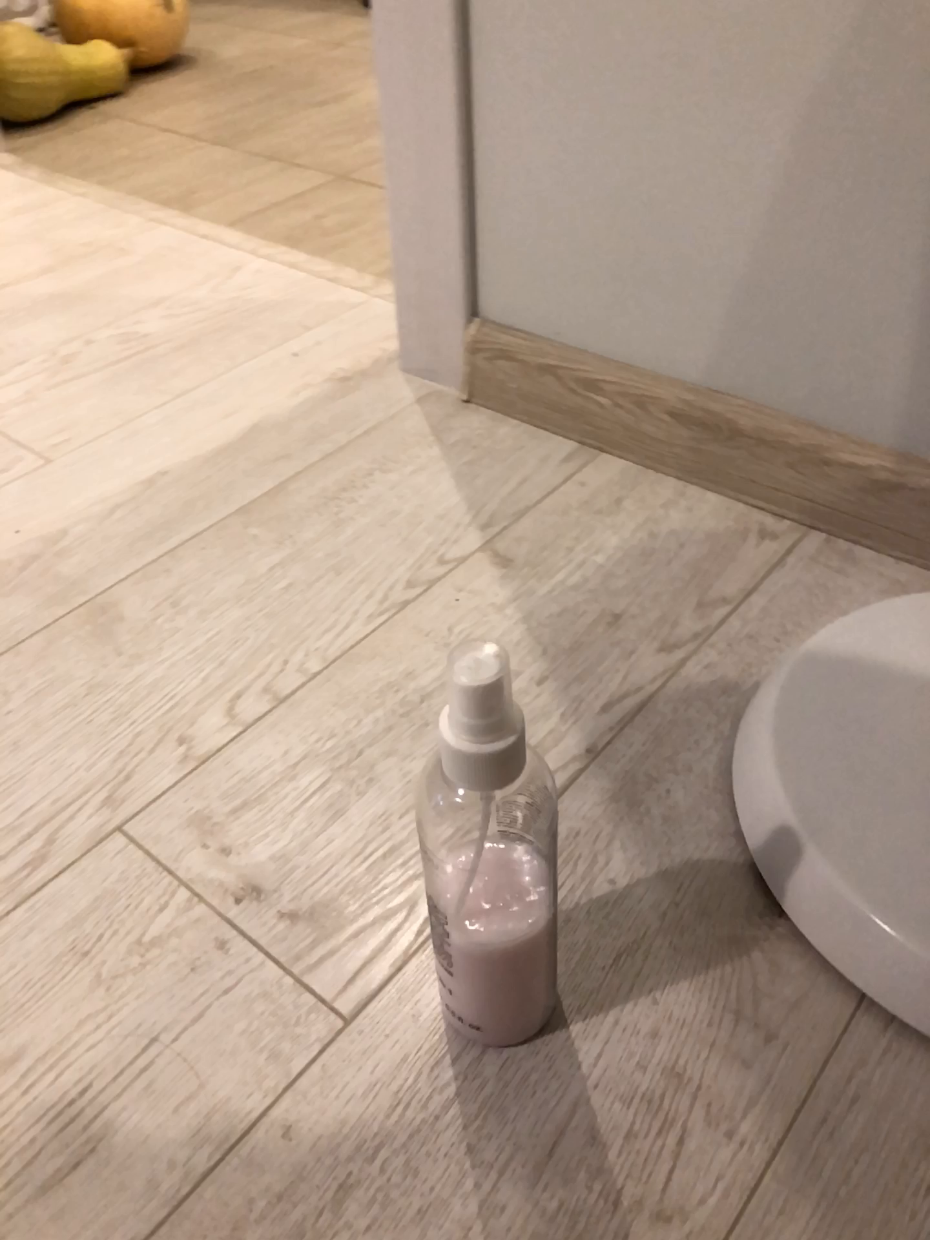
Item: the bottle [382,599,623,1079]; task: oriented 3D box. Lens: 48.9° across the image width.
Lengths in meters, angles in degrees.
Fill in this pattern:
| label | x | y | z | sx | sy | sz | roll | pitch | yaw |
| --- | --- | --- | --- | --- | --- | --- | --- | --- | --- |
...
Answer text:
| label | x | y | z | sx | sy | sz | roll | pitch | yaw |
| --- | --- | --- | --- | --- | --- | --- | --- | --- | --- |
| bottle | 0.015 | 0.086 | 0.367 | 0.049 | 0.183 | 0.054 | 29 | 50 | 31 |
